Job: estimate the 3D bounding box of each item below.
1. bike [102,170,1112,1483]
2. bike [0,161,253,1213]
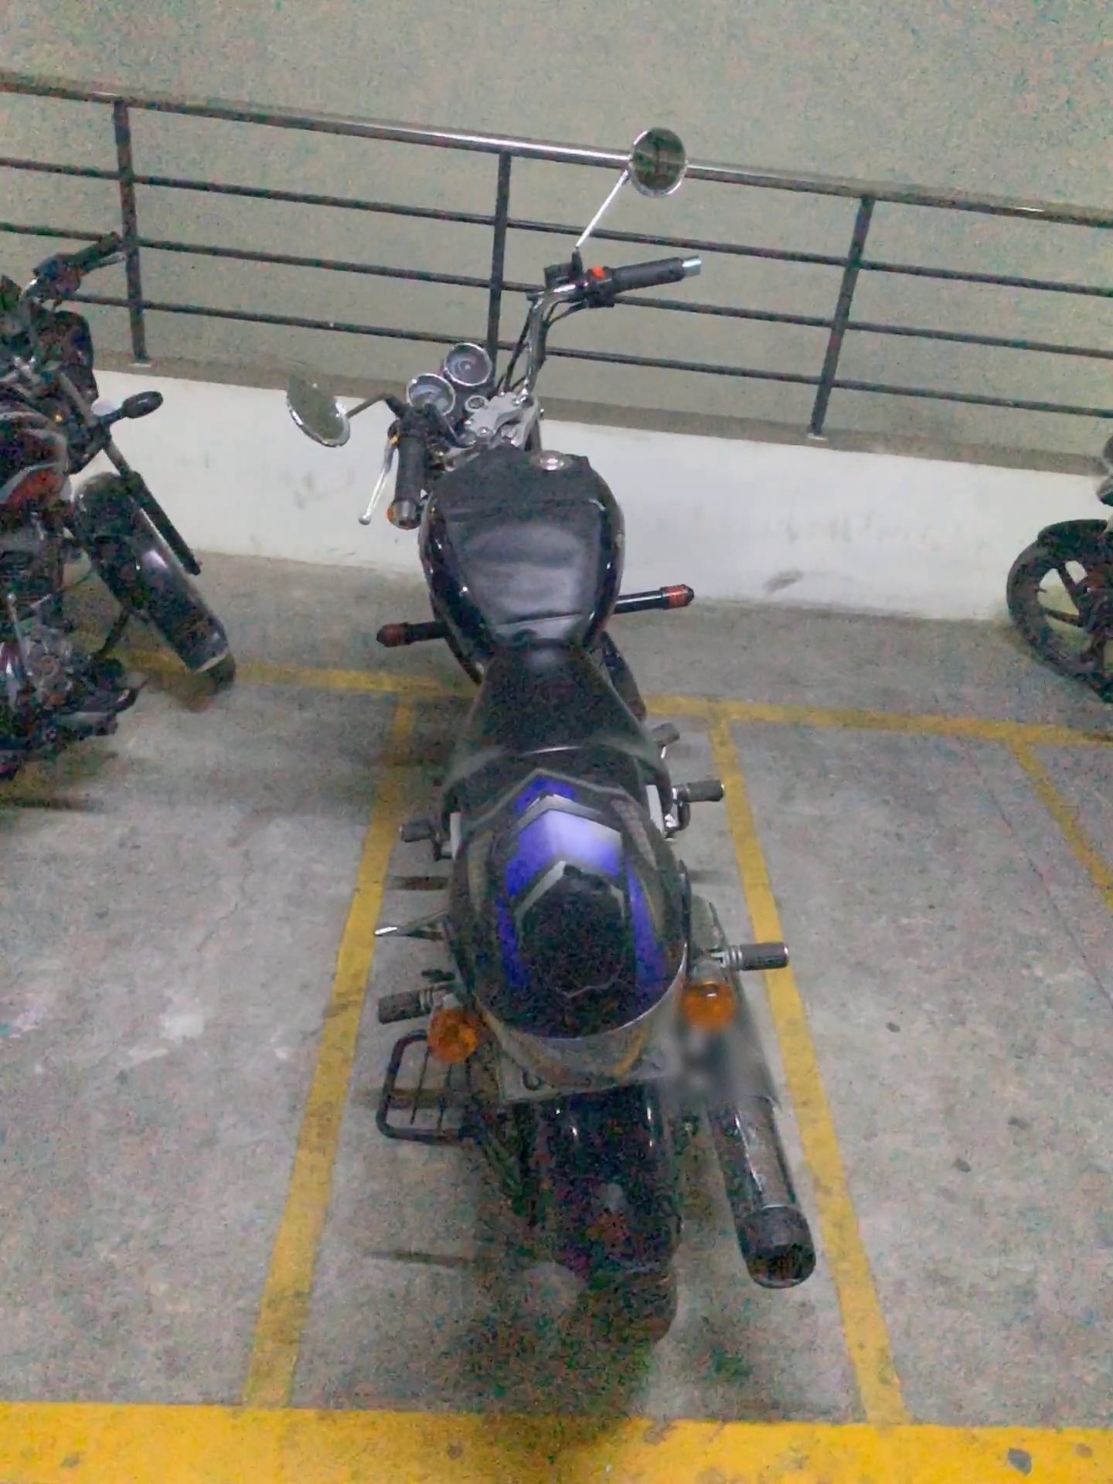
[{"bbox_3d":[-0.156,-0.029,1.836,0.842,1.303,1.674,-1,34,-14],"label":"bike"},{"bbox_3d":[-1.185,-0.262,2.046,0.593,1.193,1.510,13,34,8],"label":"bike"}]
